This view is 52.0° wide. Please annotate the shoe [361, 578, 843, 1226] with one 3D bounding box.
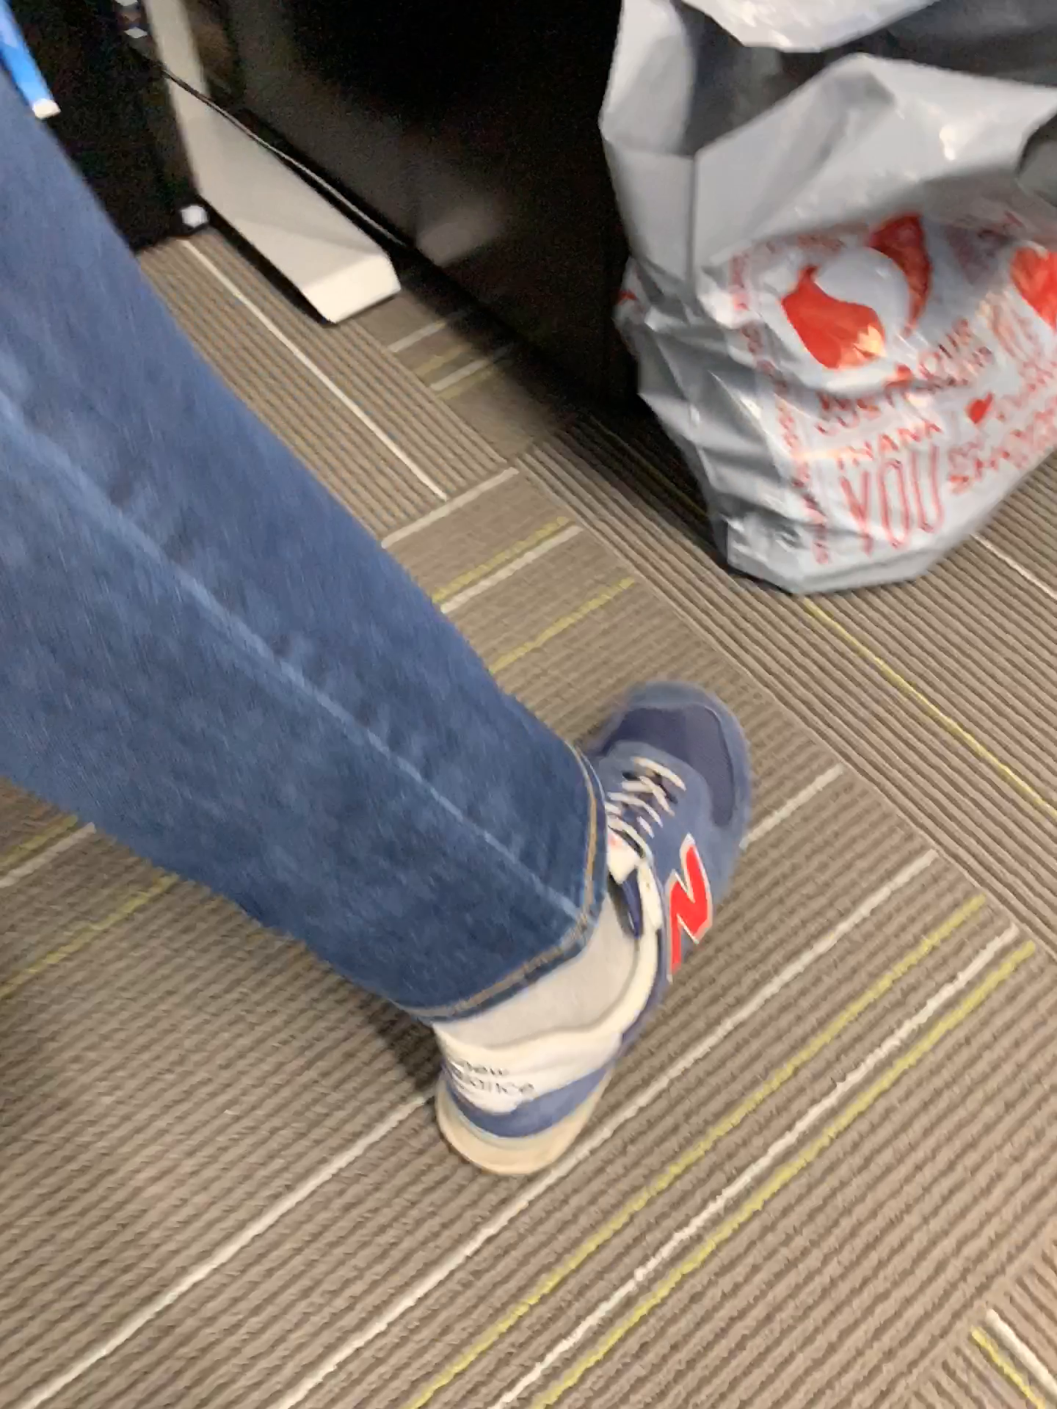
[{"bbox_3d":[0.050,0.101,0.595,0.108,0.139,0.308,25,62,16],"label":"shoe"}]
